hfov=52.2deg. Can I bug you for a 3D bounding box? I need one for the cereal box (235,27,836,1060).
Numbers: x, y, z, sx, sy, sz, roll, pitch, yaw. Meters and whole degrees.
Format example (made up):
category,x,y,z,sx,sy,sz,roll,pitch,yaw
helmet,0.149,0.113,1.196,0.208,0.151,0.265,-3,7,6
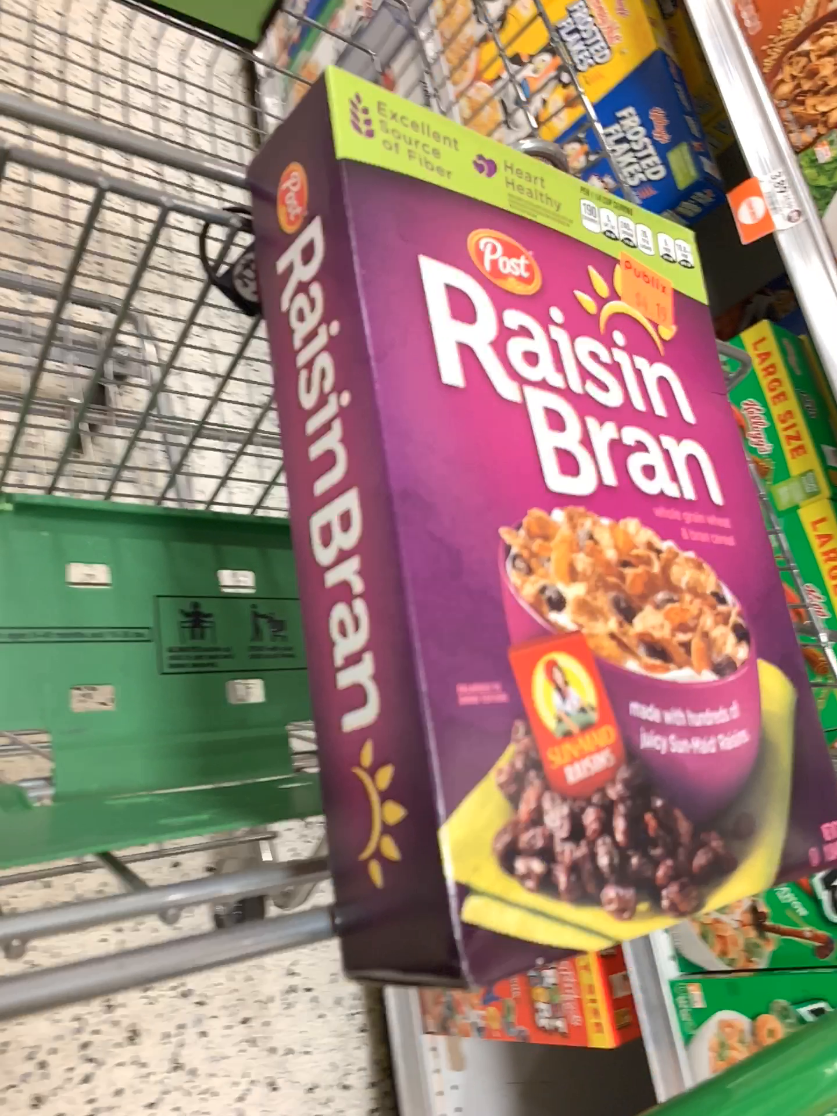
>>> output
category,x,y,z,sx,sy,sz,roll,pitch,yaw
cereal box,0.058,-0.014,0.304,0.211,0.059,0.281,4,68,-37
